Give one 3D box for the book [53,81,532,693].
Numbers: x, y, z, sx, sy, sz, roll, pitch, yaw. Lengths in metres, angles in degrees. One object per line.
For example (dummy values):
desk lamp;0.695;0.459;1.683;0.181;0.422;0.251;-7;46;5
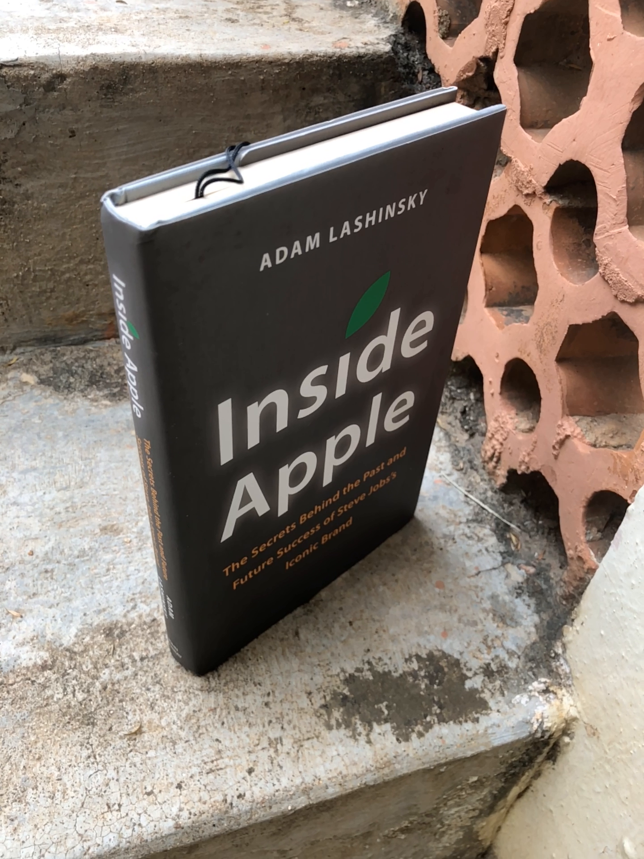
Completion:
book;-0.004;-0.011;0.304;0.170;0.219;0.040;-30;52;-32
